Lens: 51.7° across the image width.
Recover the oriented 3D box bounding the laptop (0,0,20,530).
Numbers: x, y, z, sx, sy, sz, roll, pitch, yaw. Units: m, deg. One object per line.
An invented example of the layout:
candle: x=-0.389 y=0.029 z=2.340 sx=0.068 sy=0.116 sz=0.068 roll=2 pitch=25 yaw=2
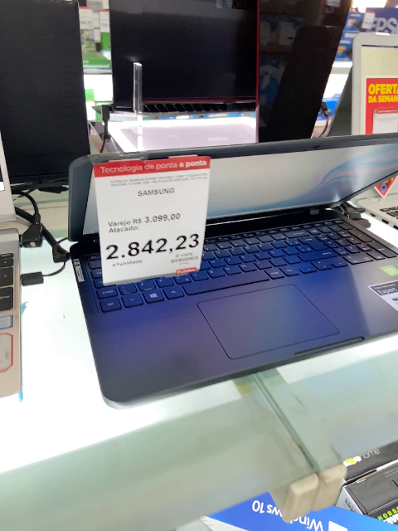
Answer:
laptop: x=-0.351 y=-0.076 z=0.299 sx=0.368 sy=0.240 sz=0.332 roll=-9 pitch=33 yaw=-18

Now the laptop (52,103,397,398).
laptop: x=0.069 y=-0.057 z=0.399 sx=0.366 sy=0.146 sz=0.232 roll=-9 pitch=33 yaw=-20
